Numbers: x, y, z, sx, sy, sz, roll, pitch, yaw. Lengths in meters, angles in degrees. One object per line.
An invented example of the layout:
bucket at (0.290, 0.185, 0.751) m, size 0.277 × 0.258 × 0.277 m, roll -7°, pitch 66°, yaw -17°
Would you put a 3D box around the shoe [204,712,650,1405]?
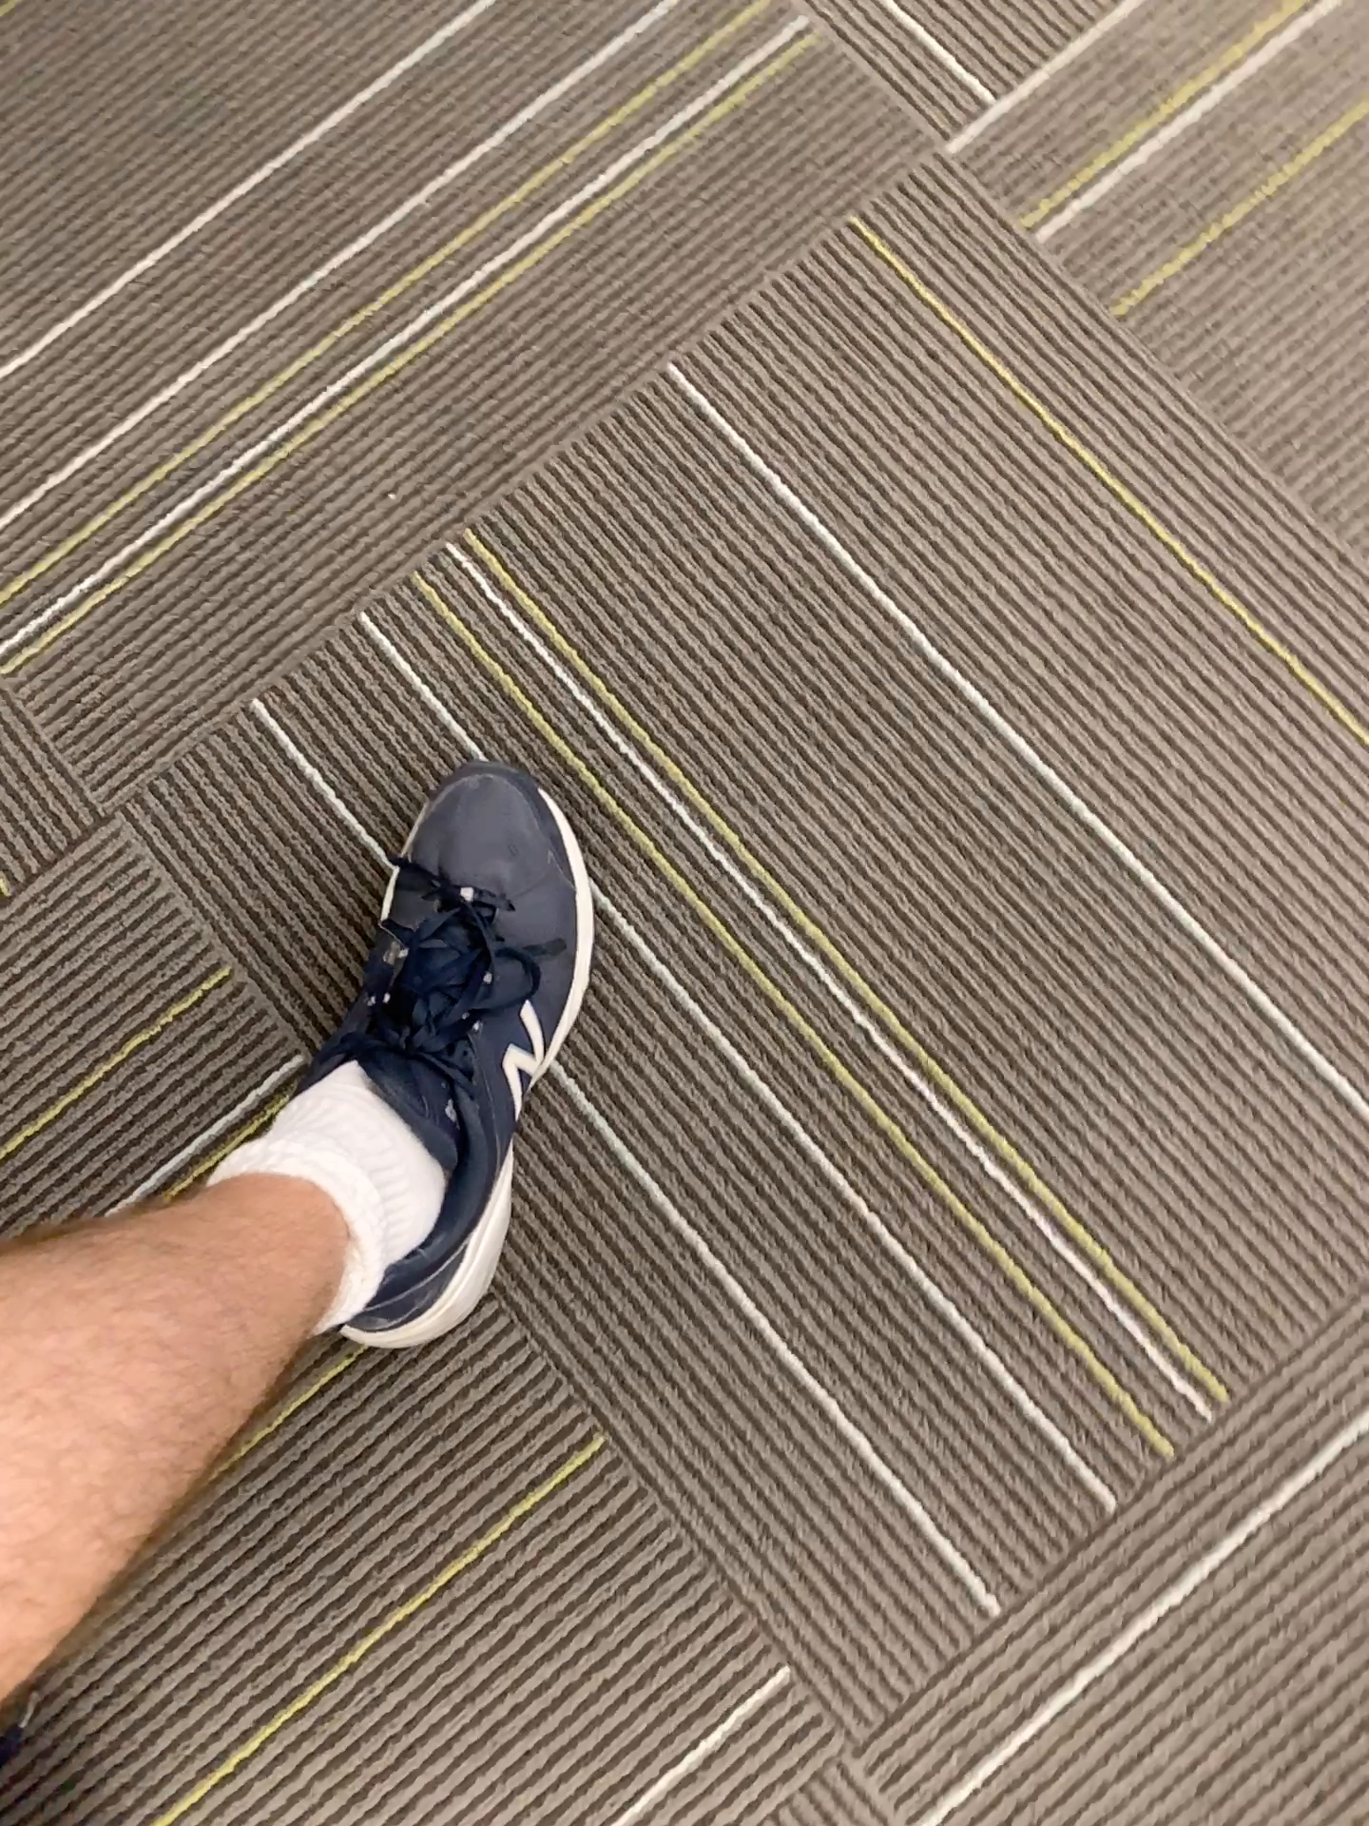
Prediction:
shoe at (-0.122, 0.069, 0.709) m, size 0.130 × 0.070 × 0.310 m, roll 14°, pitch 81°, yaw 6°
